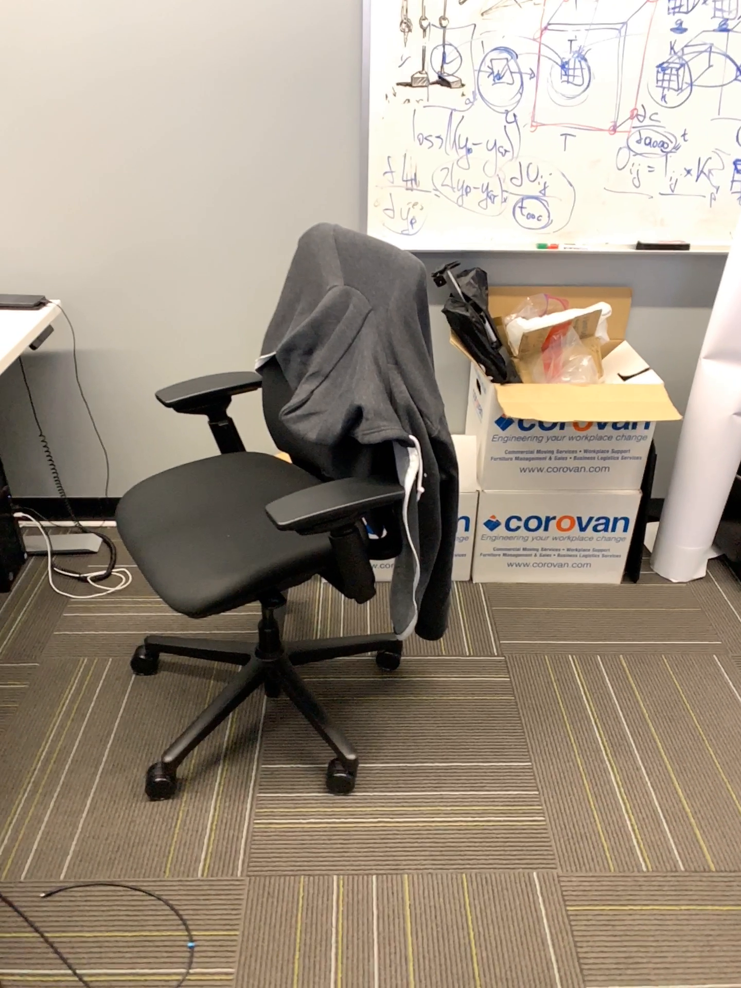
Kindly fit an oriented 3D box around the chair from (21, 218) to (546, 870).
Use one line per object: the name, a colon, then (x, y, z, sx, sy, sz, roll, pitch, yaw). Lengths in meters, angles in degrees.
chair: (-0.224, 0.027, 1.605, 0.730, 0.994, 0.775, -12, 33, -21)
